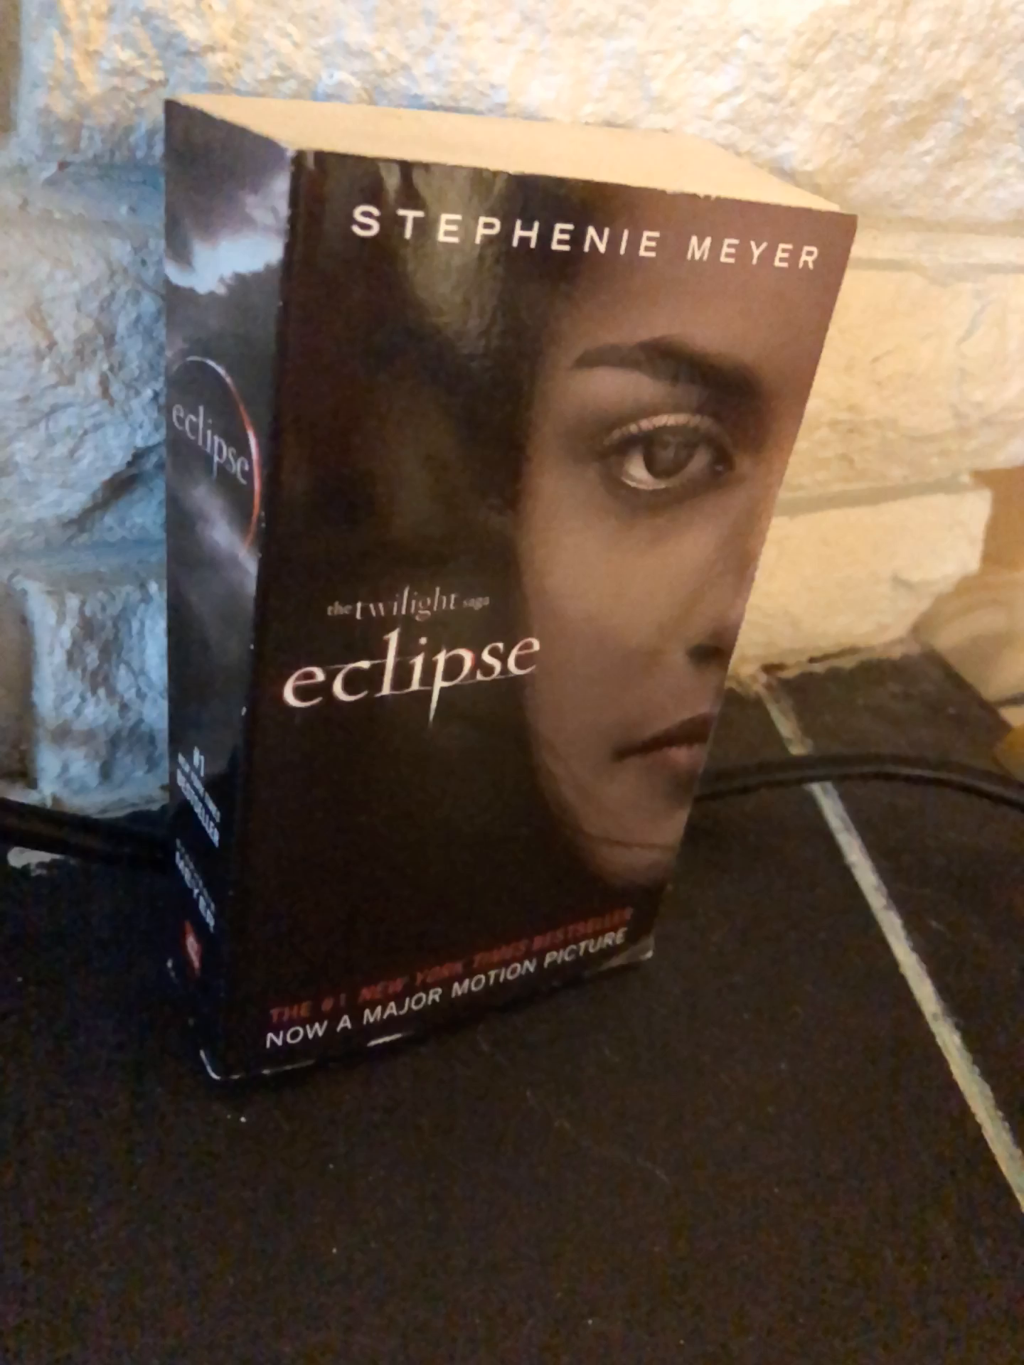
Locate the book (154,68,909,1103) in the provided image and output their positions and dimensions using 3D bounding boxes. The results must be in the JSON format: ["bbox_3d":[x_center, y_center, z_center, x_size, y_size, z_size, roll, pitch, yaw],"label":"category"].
[{"bbox_3d":[-0.010,-0.007,0.219,0.106,0.181,0.042,-7,38,-27],"label":"book"}]
